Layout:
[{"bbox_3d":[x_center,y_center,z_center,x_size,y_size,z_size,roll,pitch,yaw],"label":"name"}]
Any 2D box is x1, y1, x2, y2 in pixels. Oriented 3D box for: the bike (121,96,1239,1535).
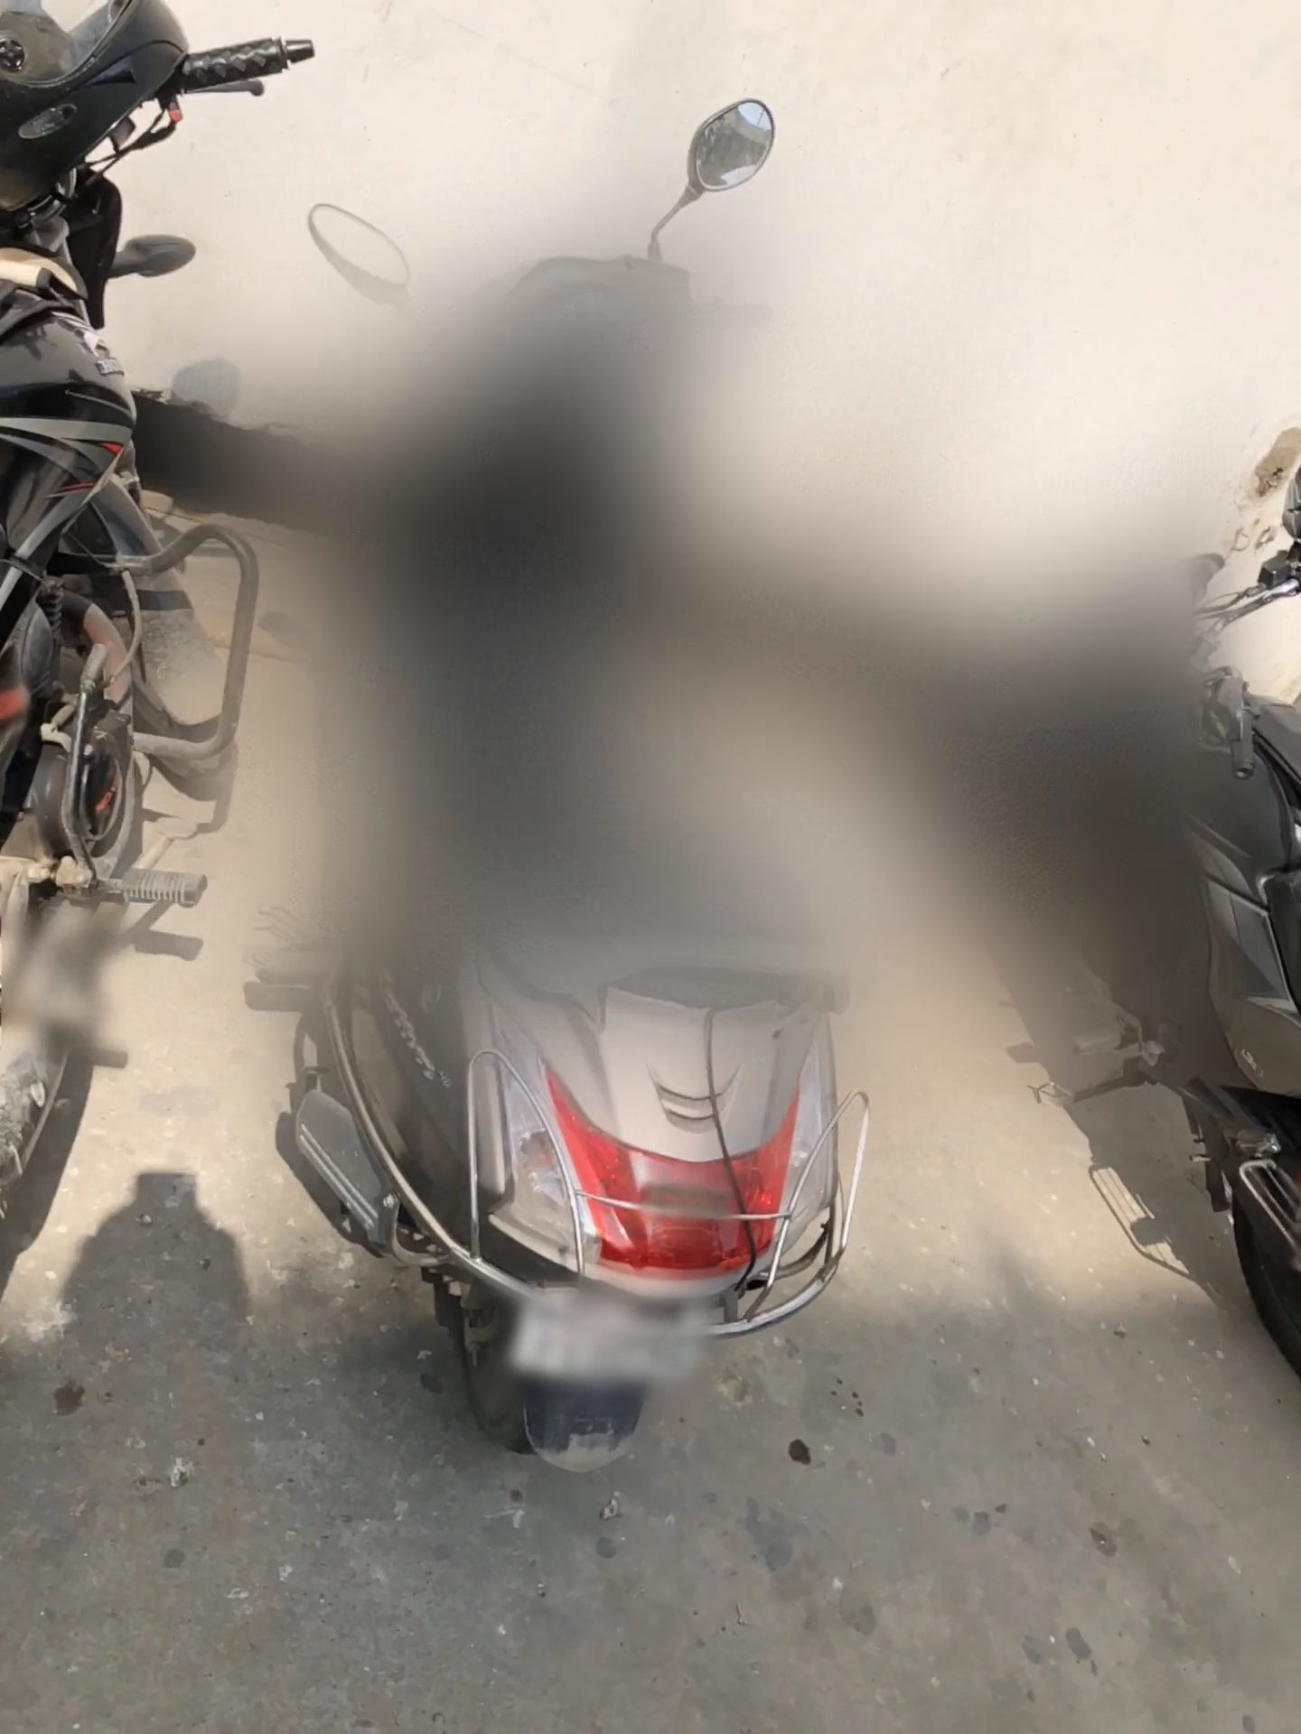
[{"bbox_3d":[-0.167,-0.157,1.882,0.617,1.108,1.505,15,33,-26],"label":"bike"}]
